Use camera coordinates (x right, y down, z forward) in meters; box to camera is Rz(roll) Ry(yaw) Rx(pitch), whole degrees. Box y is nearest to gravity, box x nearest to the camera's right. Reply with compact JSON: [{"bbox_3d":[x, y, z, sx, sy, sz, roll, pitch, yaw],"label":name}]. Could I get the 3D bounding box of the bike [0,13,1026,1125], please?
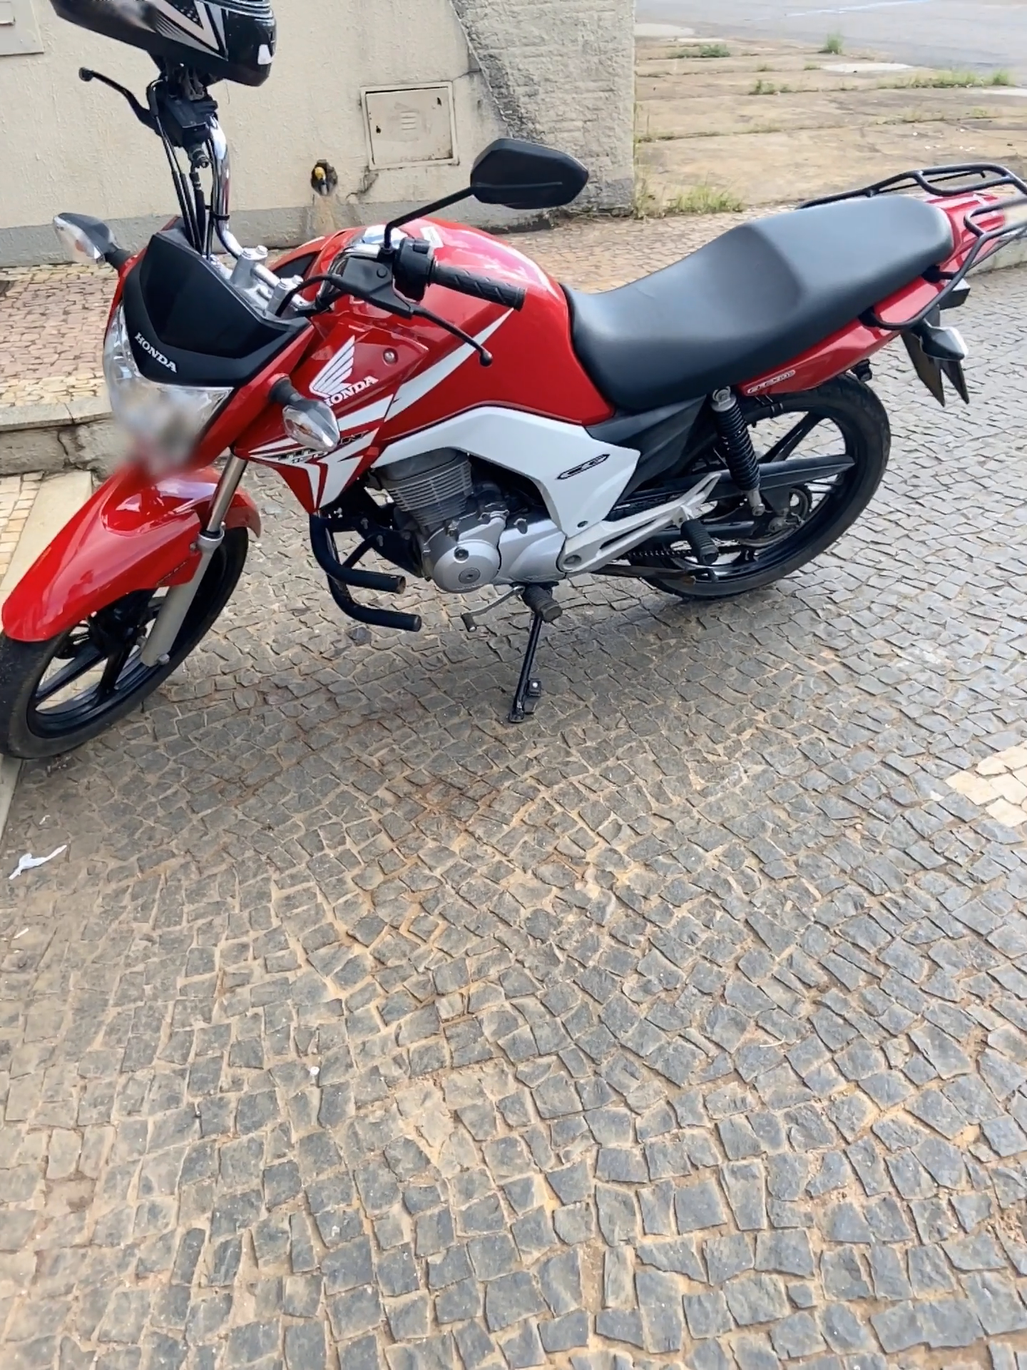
[{"bbox_3d":[0.051,-0.397,1.989,2.074,1.382,0.812,-20,36,-24],"label":"bike"}]
